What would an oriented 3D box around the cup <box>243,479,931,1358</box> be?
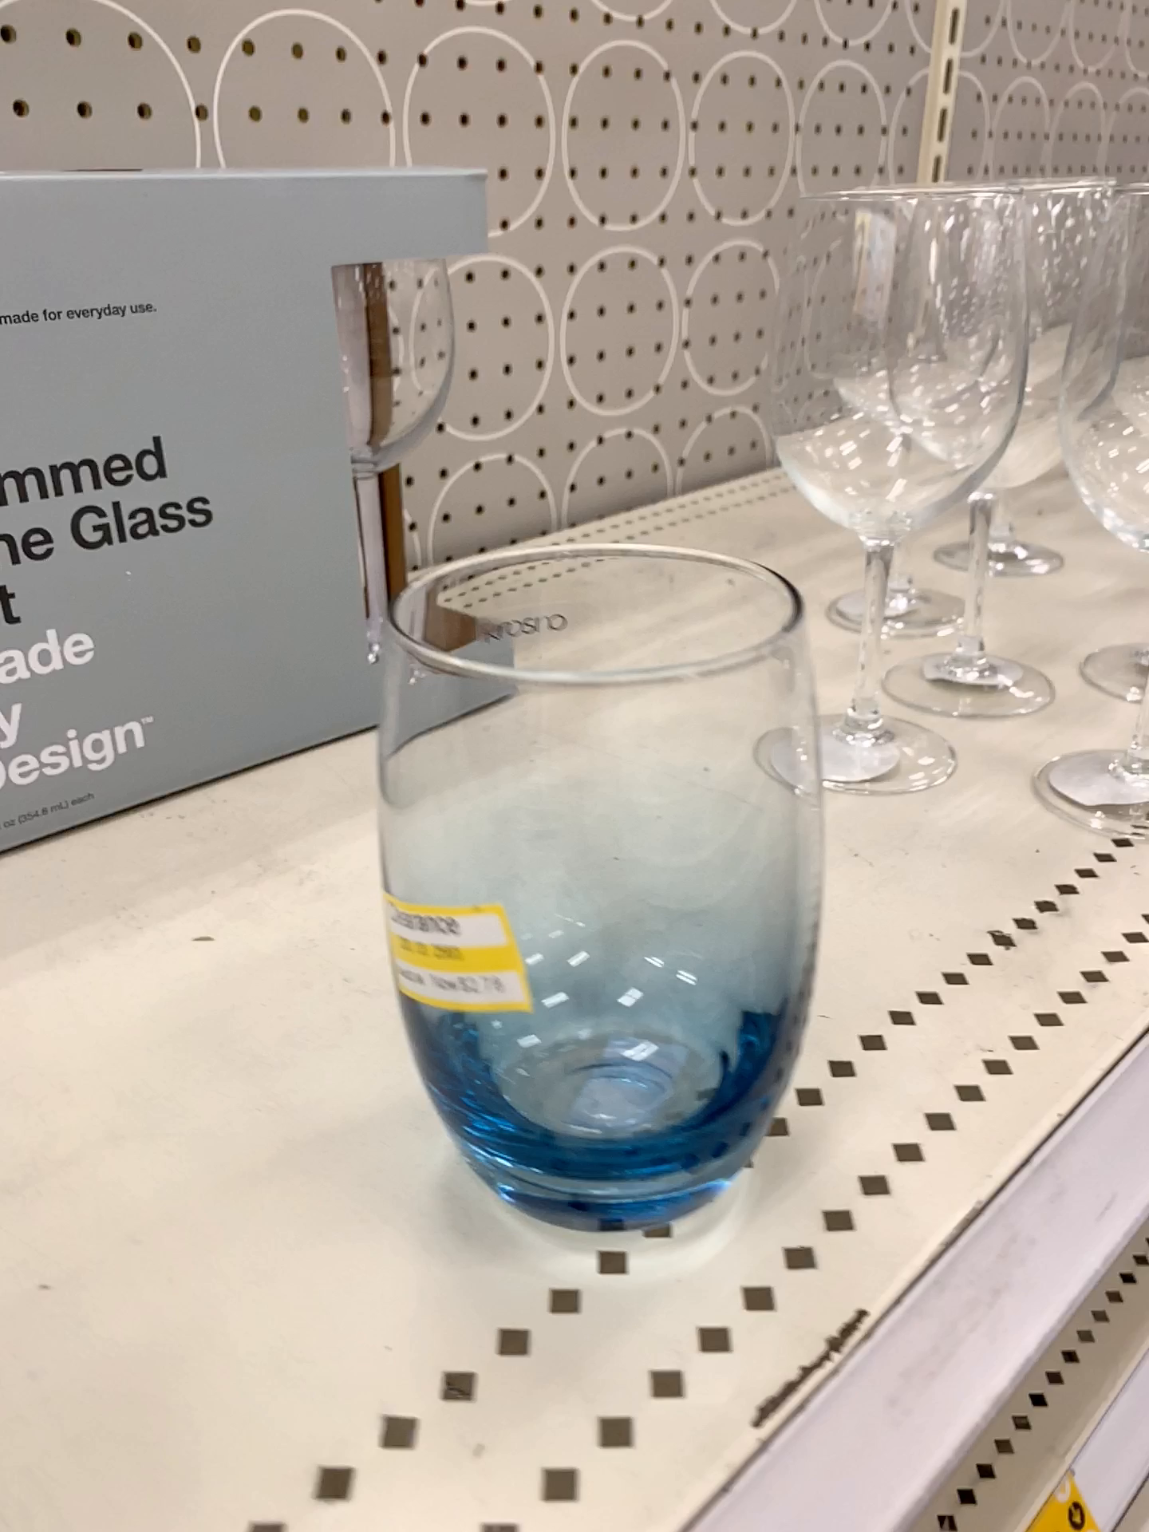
[{"bbox_3d":[0.009,0.020,0.224,0.090,0.119,0.090,0,26,0],"label":"cup"}]
